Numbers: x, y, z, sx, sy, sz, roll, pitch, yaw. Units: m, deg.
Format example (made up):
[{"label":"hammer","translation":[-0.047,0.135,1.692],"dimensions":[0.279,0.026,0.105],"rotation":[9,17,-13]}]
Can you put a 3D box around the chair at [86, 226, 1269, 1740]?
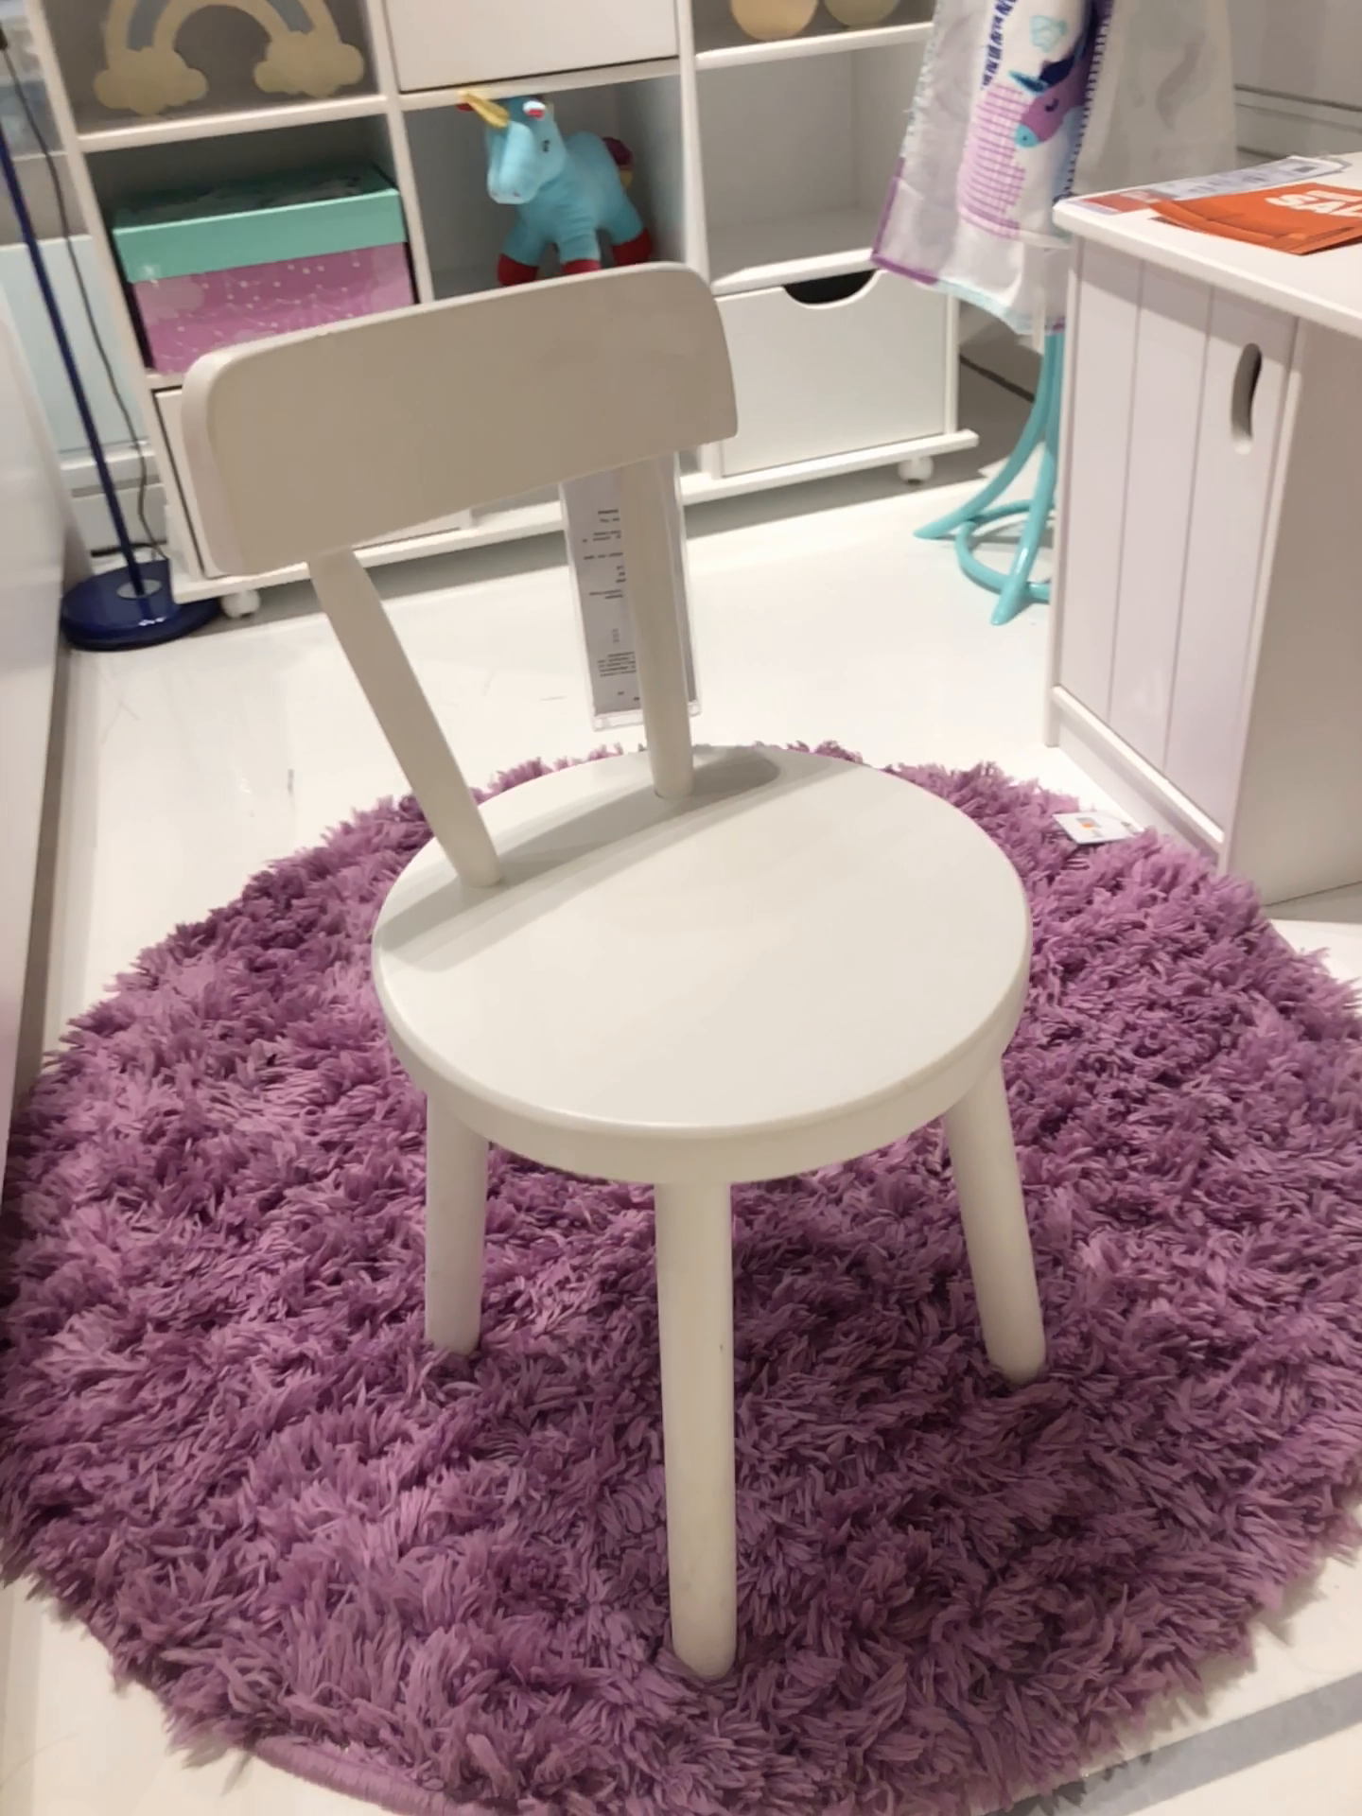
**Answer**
[{"label":"chair","translation":[0.014,0.029,0.725],"dimensions":[0.321,0.576,0.311],"rotation":[-29,41,-29]}]
